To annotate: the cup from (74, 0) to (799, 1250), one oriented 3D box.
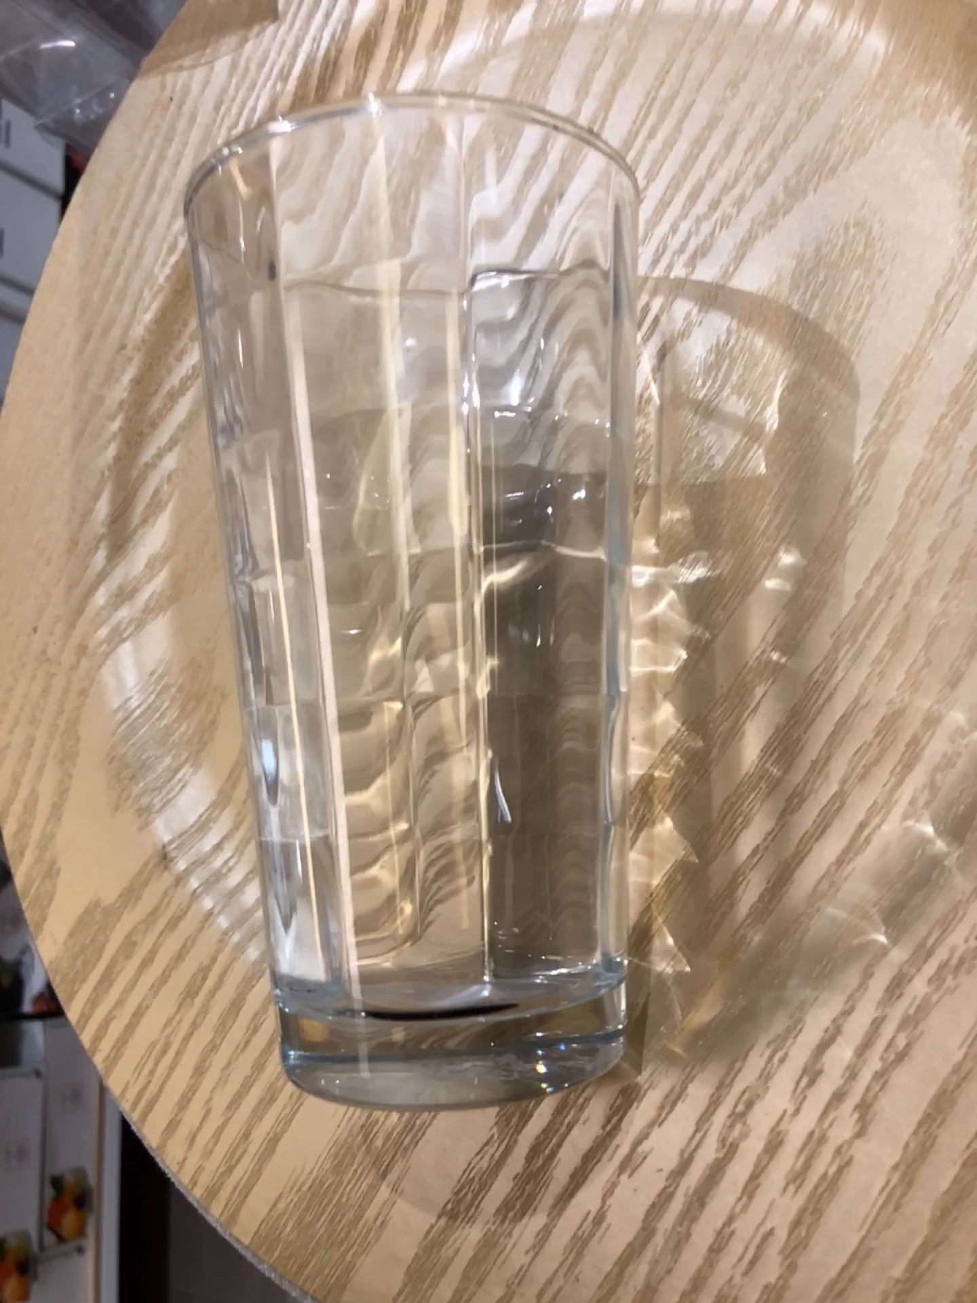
[{"bbox_3d":[-0.008,-0.014,0.193,0.090,0.080,0.180,-6,81,33],"label":"cup"}]
